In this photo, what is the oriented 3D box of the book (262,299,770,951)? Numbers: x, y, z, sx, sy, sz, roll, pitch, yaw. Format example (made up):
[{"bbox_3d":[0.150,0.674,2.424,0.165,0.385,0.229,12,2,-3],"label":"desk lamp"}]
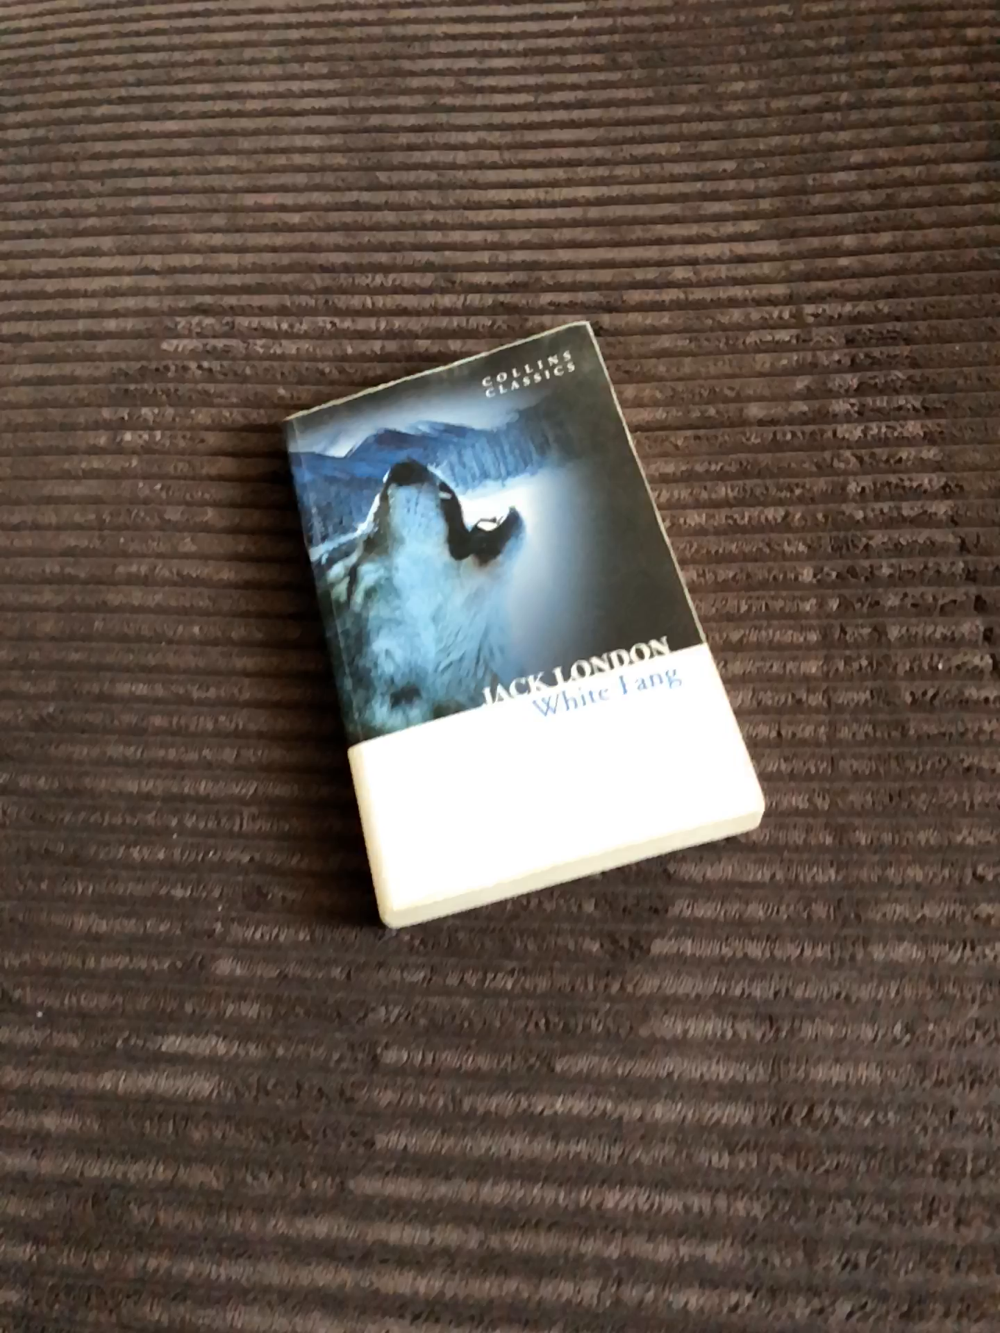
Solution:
[{"bbox_3d":[-0.001,-0.017,0.341,0.114,0.030,0.179,-17,67,6],"label":"book"}]
